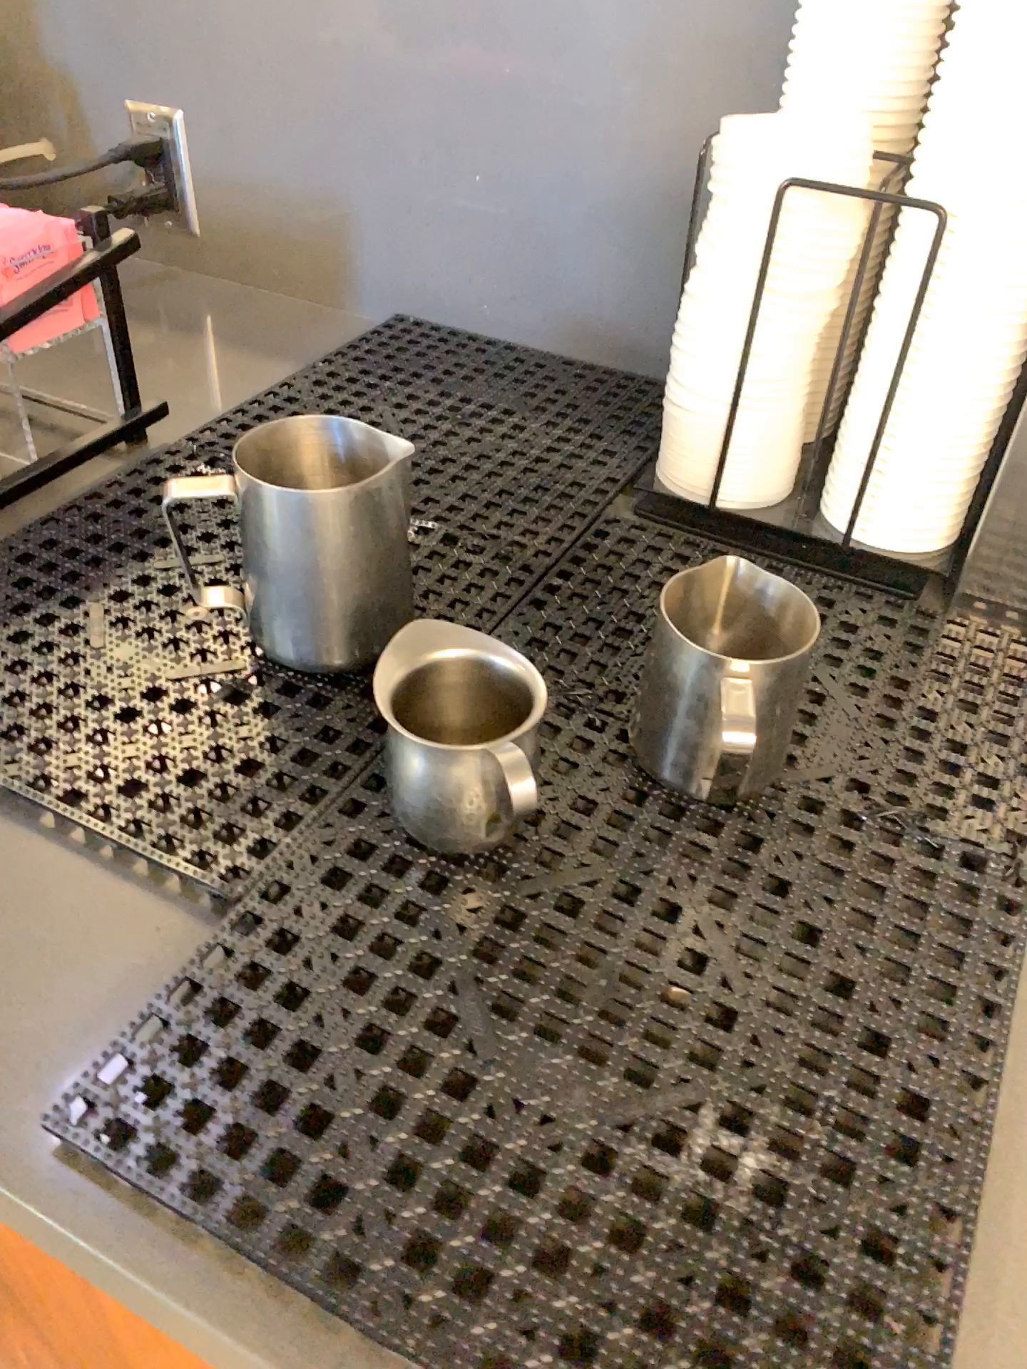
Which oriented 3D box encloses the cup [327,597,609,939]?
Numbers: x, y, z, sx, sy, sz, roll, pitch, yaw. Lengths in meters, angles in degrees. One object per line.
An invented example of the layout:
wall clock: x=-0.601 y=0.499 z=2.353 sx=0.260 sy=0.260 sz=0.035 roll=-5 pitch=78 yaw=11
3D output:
cup: x=-0.023 y=0.030 z=0.435 sx=0.070 sy=0.070 sz=0.111 roll=-16 pitch=43 yaw=-23

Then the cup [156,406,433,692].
cup: x=-0.106 y=-0.068 z=0.524 sx=0.120 sy=0.109 sz=0.070 roll=-7 pitch=41 yaw=-13

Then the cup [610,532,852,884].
cup: x=0.092 y=0.006 z=0.463 sx=0.080 sy=0.080 sz=0.131 roll=8 pitch=40 yaw=5
